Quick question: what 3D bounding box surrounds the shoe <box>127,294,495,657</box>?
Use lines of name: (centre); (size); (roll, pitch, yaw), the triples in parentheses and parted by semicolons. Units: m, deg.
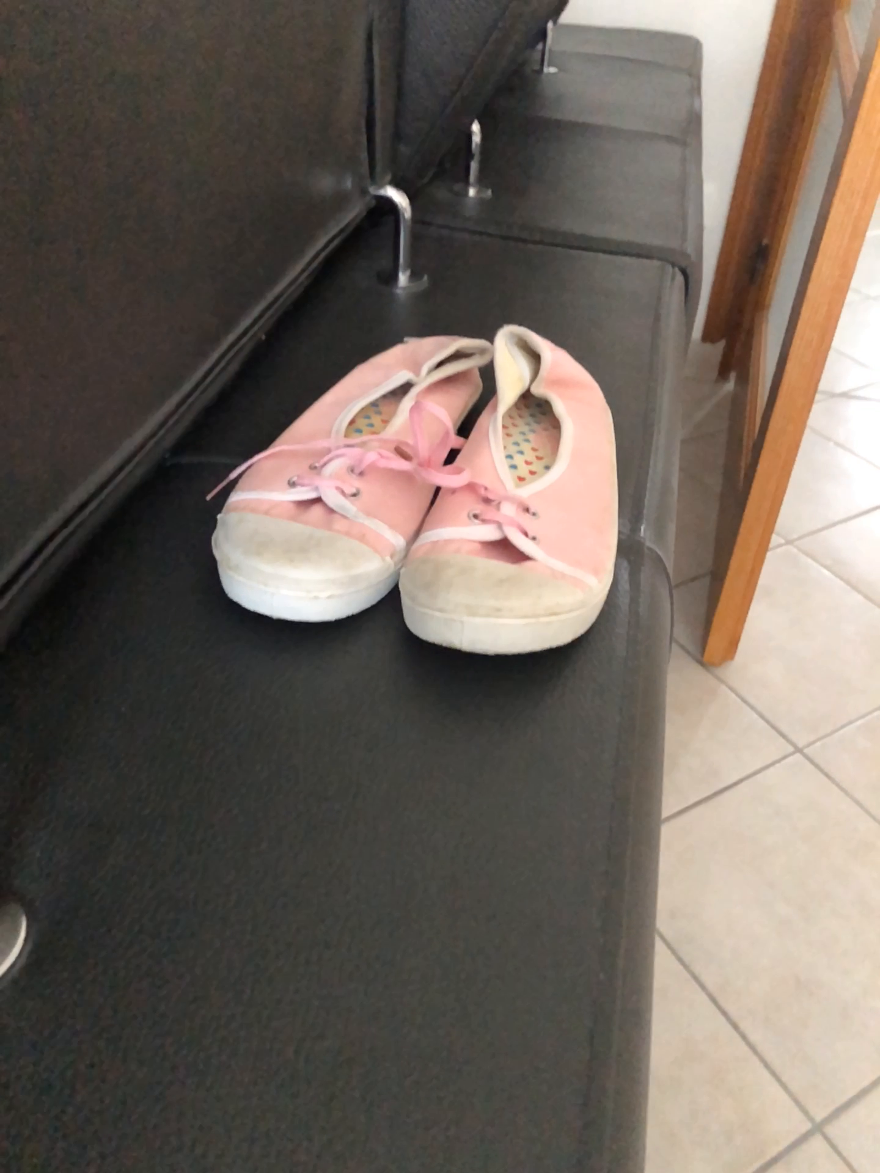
shoe: (-0.044, -0.069, 0.457); (0.090, 0.040, 0.242); (11, 39, 9)

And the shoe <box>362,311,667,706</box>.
shoe: (0.045, -0.053, 0.435); (0.090, 0.040, 0.242); (11, 39, 9)
